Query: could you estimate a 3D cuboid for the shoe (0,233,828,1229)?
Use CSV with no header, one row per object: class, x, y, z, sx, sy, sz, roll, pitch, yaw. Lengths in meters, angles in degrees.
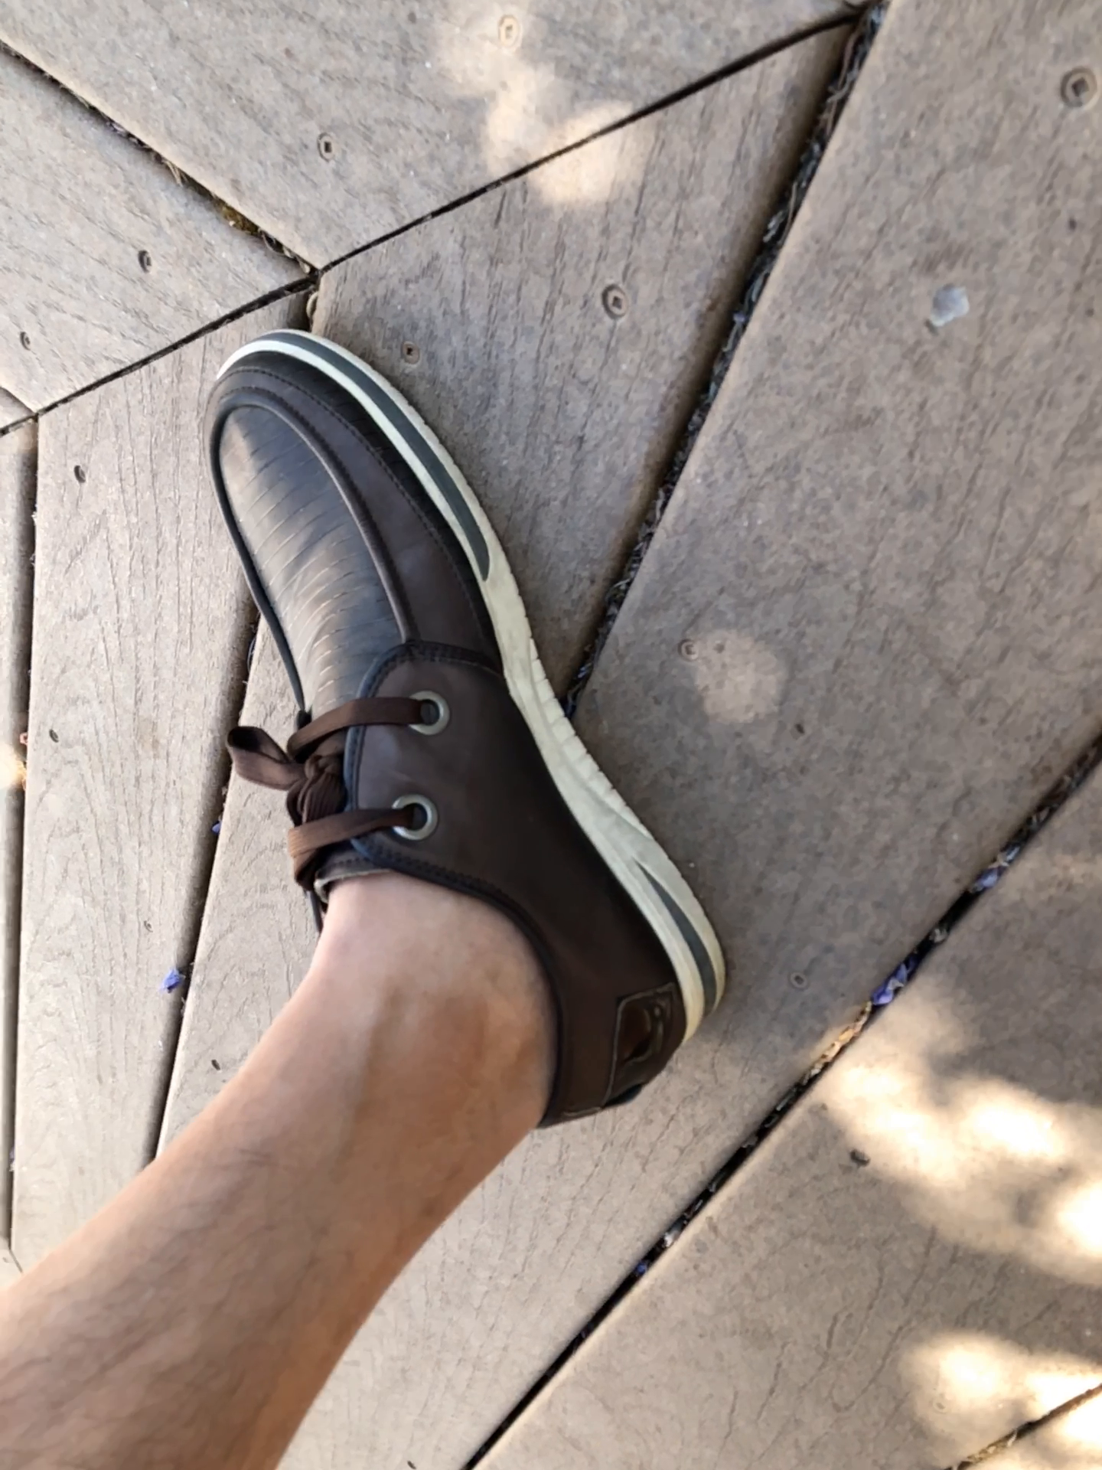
shoe,-0.046,0.001,0.403,0.111,0.110,0.296,-28,97,39
